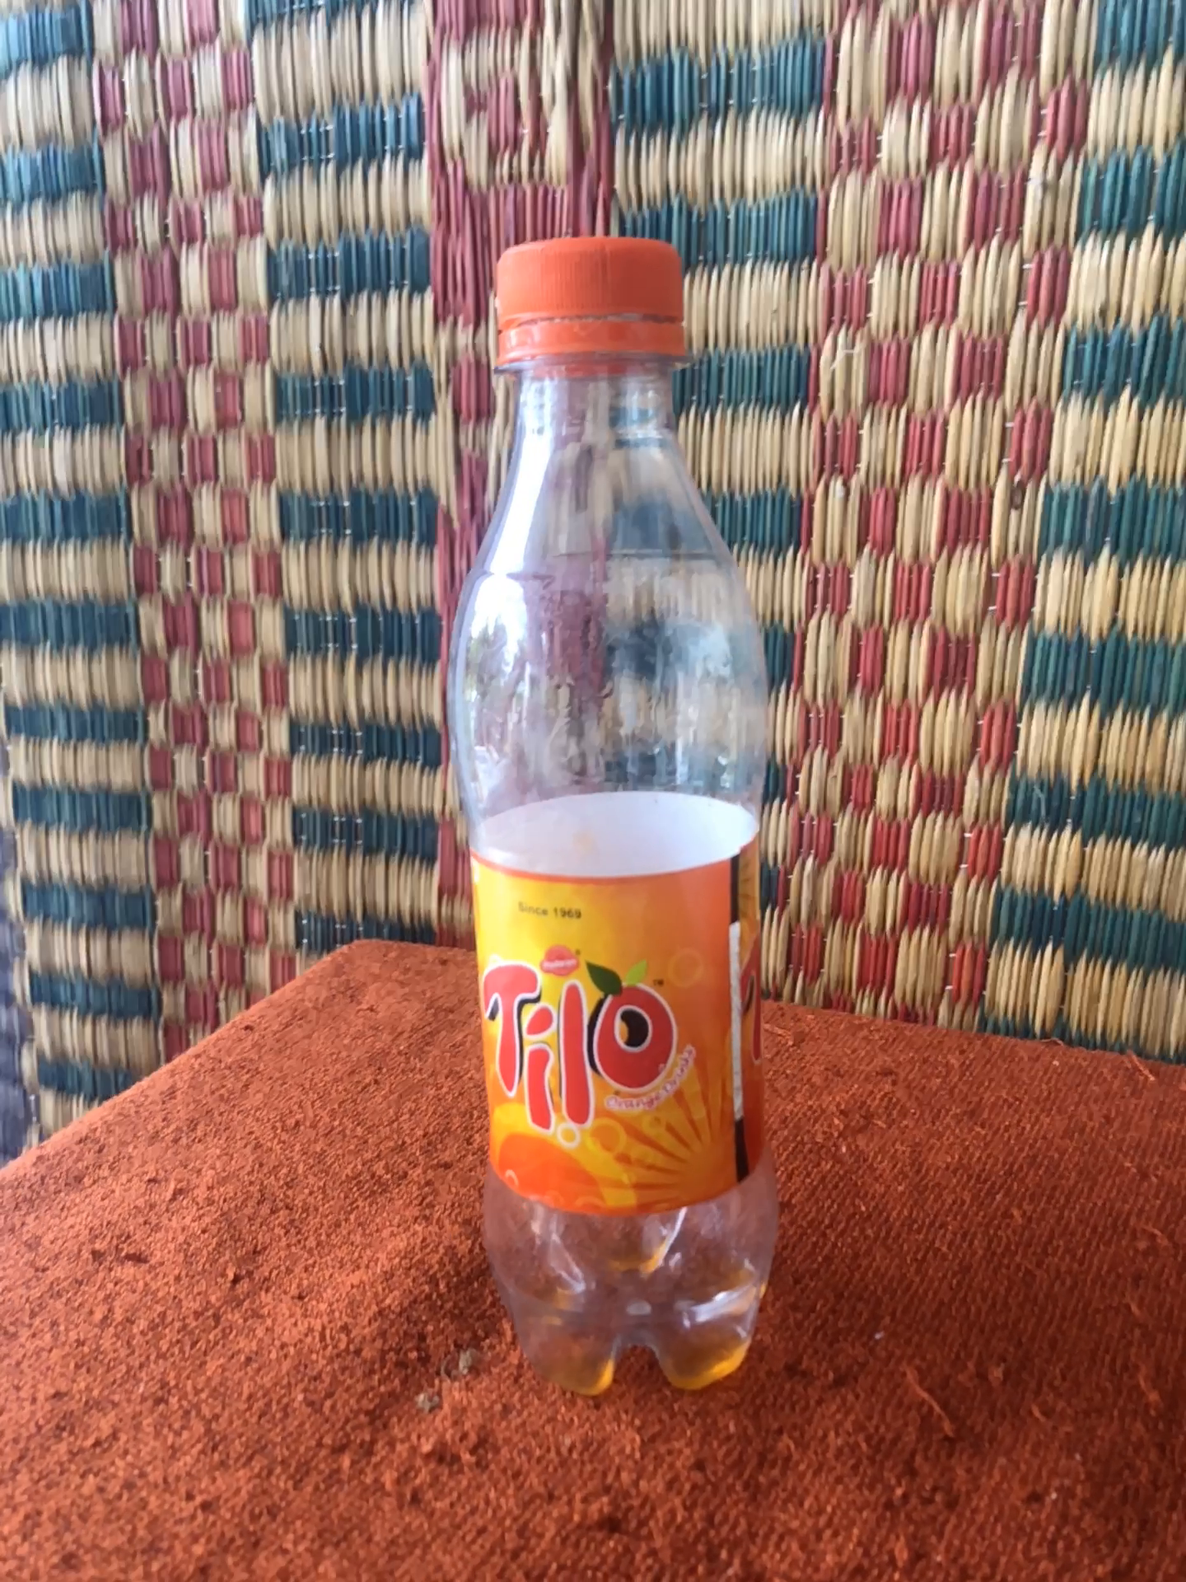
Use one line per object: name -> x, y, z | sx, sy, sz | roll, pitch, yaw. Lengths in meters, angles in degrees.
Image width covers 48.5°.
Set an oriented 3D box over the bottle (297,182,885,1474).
bottle -> 0.005, 0.008, 0.219 | 0.070, 0.189, 0.050 | 7, 20, 28
